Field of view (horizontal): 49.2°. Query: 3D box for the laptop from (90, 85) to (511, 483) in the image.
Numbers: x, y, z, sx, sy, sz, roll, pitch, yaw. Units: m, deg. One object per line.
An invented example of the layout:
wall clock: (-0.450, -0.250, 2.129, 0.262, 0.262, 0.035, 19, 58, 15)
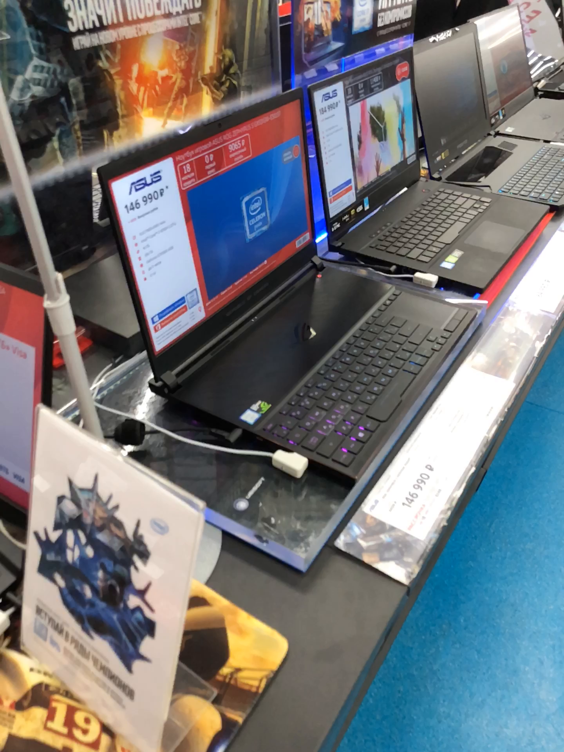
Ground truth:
laptop: (0.041, -0.136, 0.681, 0.278, 0.241, 0.351, 21, 42, 25)

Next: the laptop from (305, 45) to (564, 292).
laptop: (0.251, -0.355, 0.984, 0.302, 0.219, 0.343, 23, 44, 27)
